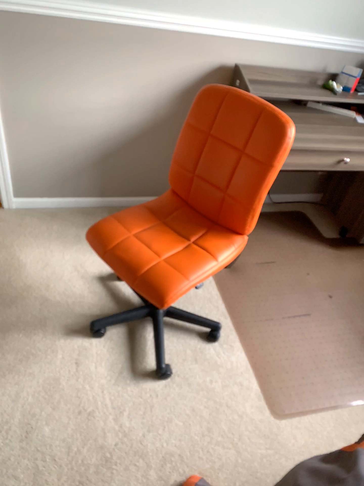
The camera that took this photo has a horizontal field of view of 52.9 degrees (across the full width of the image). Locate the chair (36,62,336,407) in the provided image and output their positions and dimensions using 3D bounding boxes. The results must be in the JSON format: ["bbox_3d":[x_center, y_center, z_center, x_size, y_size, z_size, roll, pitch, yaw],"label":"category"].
[{"bbox_3d":[-0.052,-0.050,1.295,0.601,0.903,0.595,-24,51,-36],"label":"chair"}]
